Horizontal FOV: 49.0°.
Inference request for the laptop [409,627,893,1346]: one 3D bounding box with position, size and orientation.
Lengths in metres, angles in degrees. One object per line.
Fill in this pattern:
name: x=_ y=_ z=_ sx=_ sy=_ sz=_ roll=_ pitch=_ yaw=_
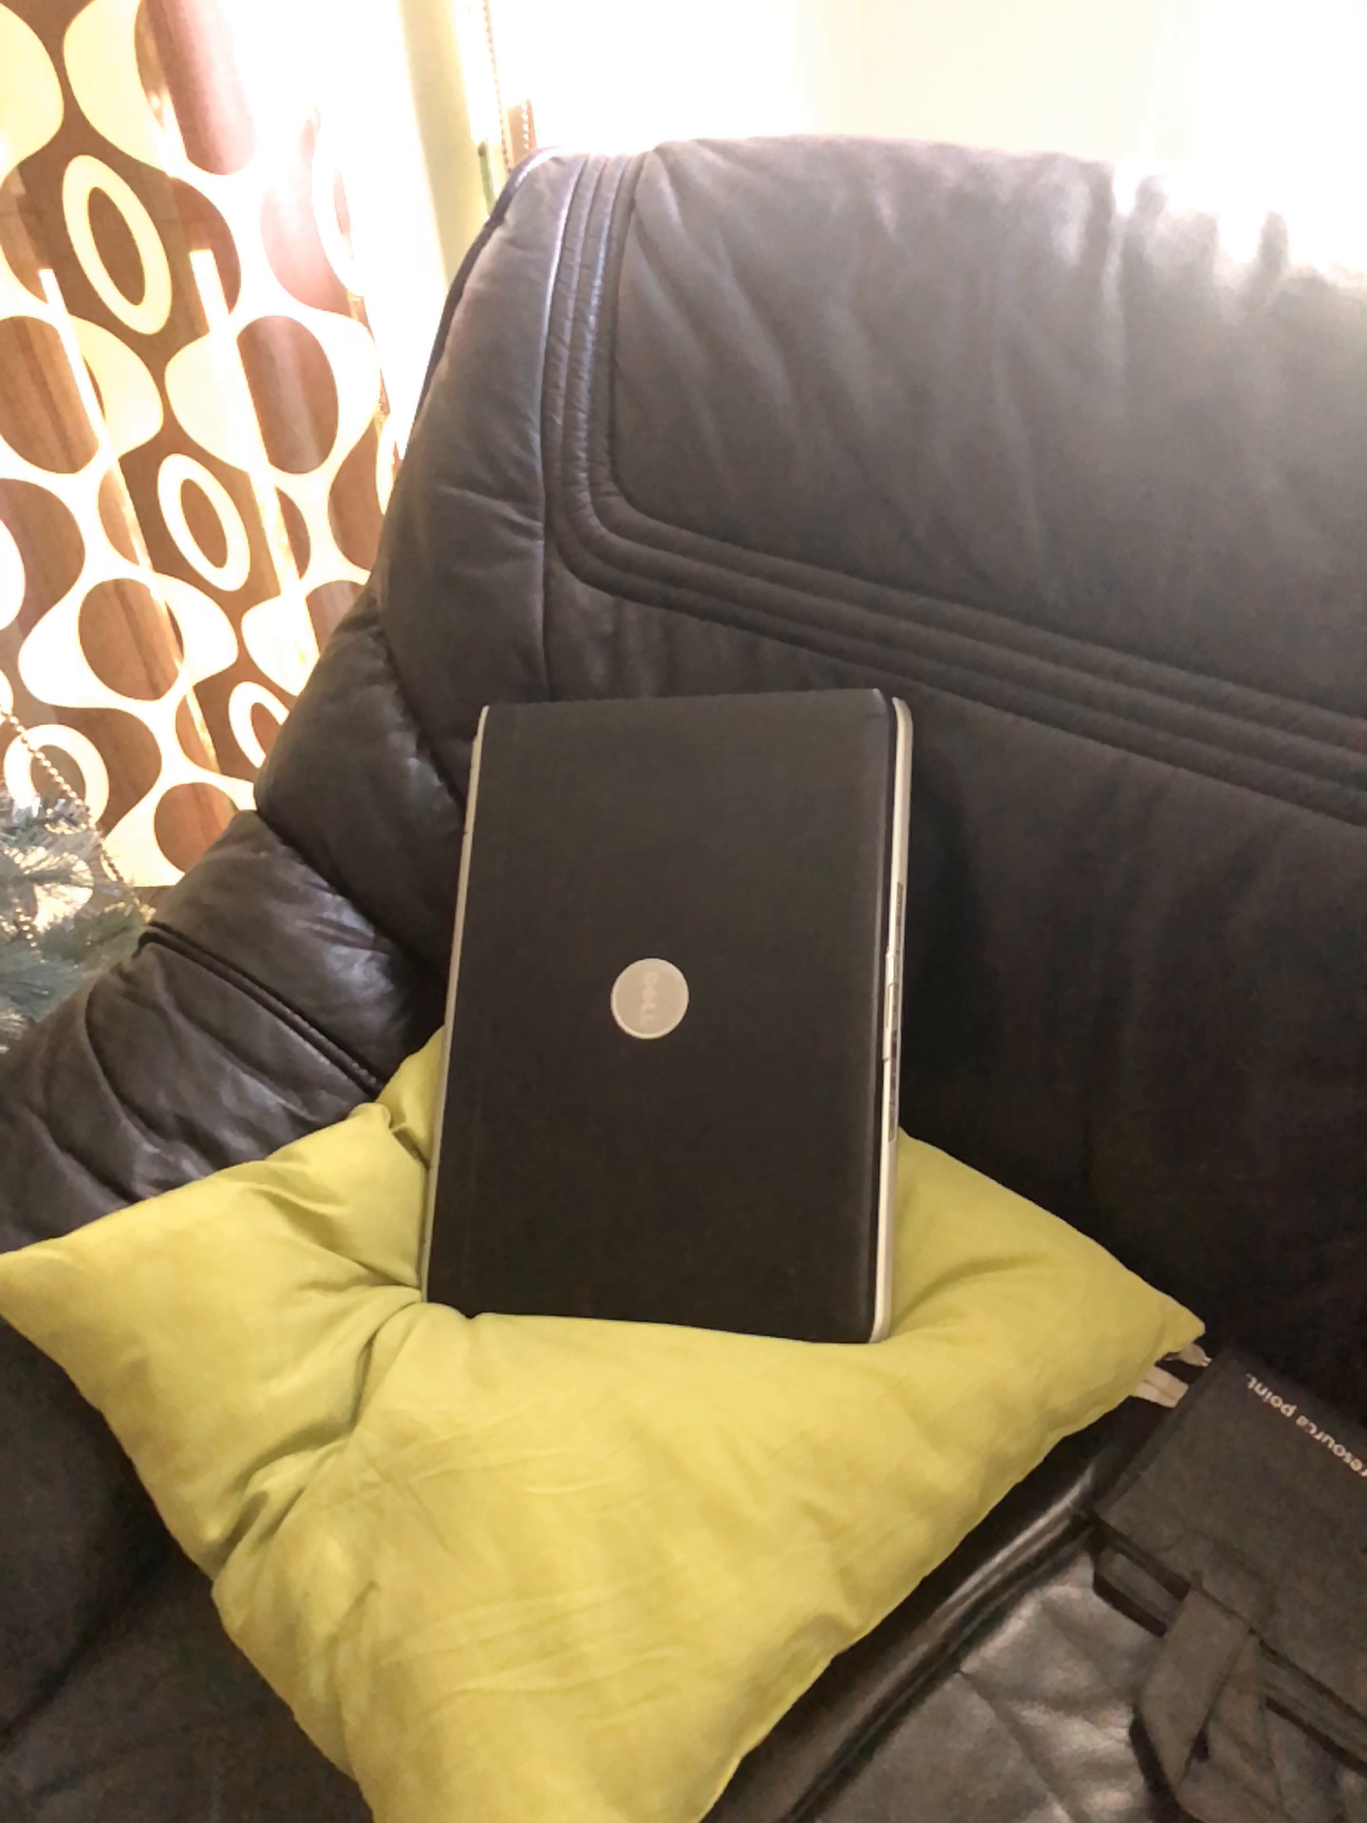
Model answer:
laptop: x=-0.017 y=0.033 z=0.810 sx=0.247 sy=0.033 sz=0.345 roll=0 pitch=77 yaw=19
